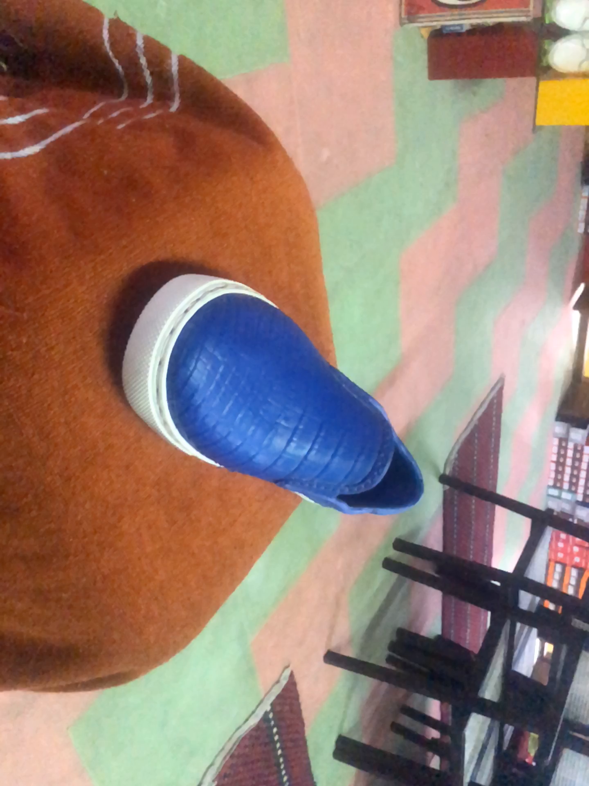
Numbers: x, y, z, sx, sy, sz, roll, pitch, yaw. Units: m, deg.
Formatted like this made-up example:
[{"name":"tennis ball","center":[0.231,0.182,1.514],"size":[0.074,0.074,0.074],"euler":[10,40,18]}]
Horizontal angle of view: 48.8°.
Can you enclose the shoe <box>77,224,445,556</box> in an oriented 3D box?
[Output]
[{"name":"shoe","center":[0.011,0.022,0.432],"size":[0.302,0.079,0.110],"euler":[39,68,-57]}]
